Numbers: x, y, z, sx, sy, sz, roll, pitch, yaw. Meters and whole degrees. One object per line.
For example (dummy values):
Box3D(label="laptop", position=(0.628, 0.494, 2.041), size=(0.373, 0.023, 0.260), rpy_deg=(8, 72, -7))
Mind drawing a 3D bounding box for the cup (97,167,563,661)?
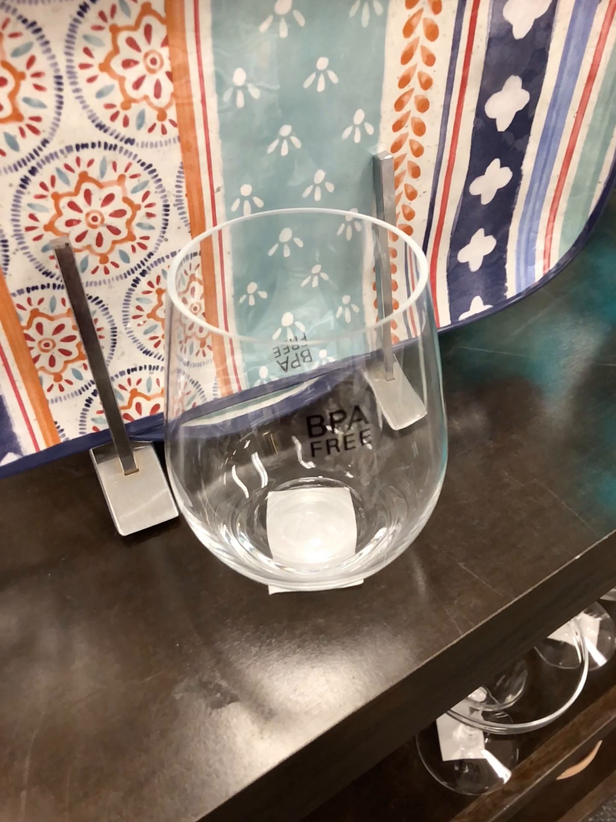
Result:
Box3D(label="cup", position=(0.002, -0.004, 0.219), size=(0.094, 0.097, 0.094), rpy_deg=(-1, 42, 1))
